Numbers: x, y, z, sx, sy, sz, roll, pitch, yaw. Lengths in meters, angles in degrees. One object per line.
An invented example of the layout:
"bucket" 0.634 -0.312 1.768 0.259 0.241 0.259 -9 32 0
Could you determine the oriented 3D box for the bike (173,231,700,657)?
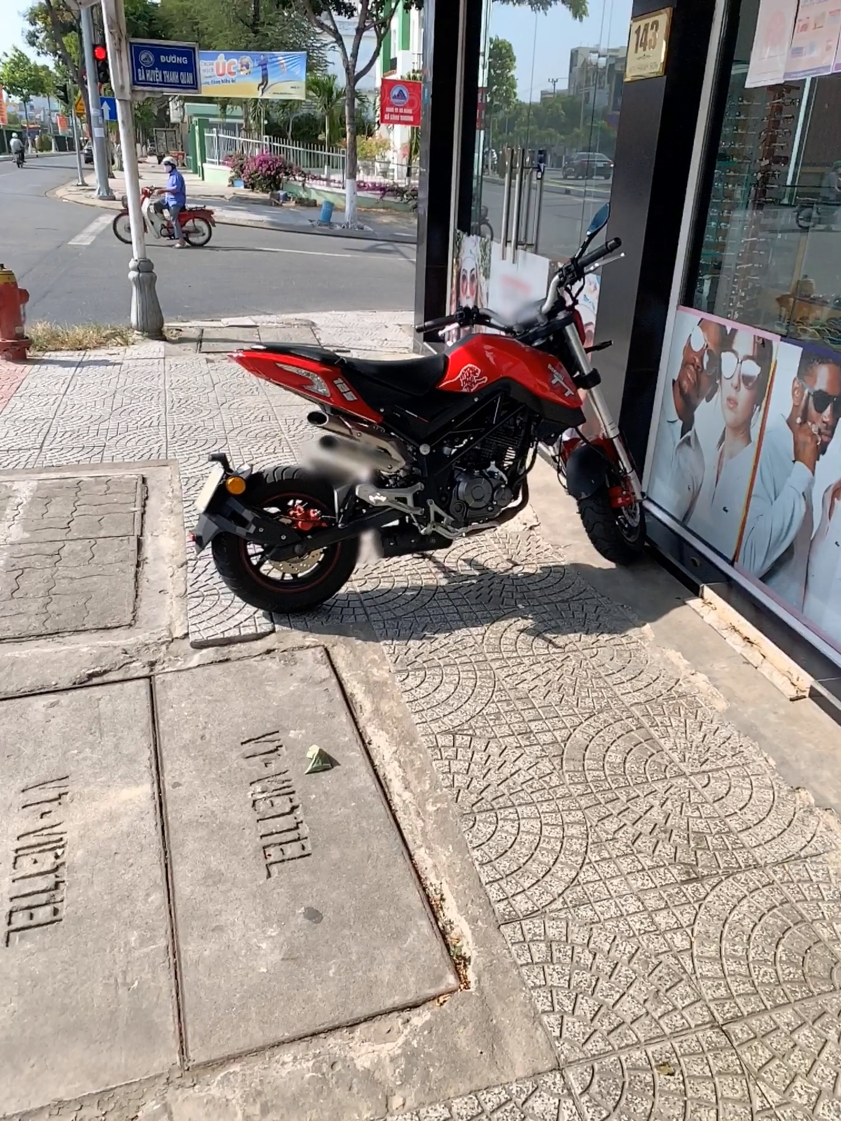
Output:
"bike" 0.122 -0.640 3.477 2.123 1.216 0.834 -14 29 -33
